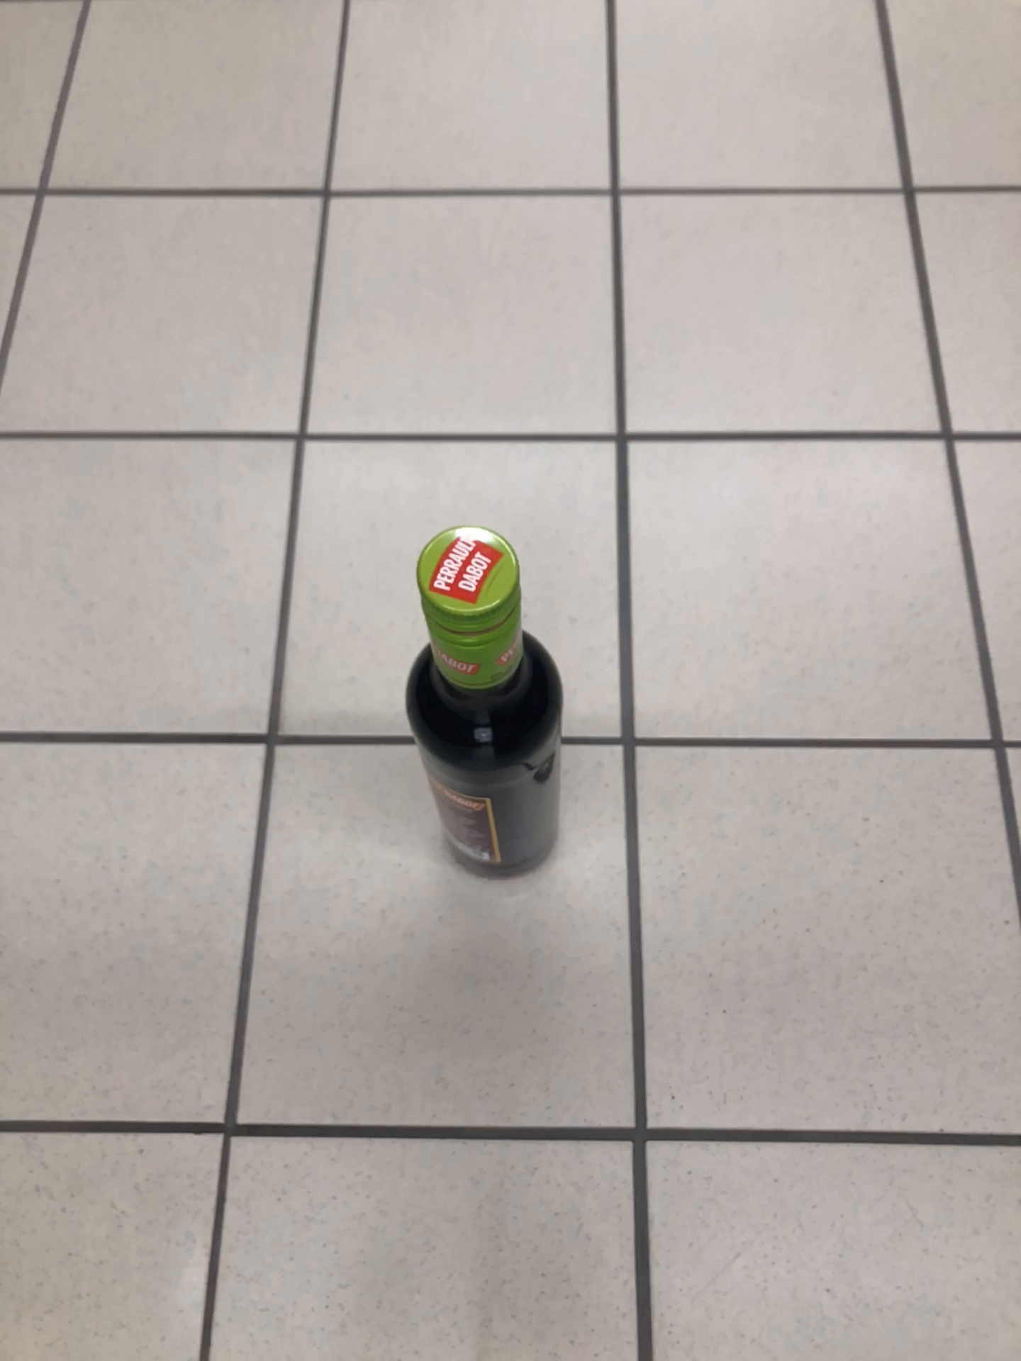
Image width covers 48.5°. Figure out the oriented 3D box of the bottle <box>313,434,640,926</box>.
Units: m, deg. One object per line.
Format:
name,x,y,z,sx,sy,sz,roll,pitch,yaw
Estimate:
bottle,-0.007,0.024,0.475,0.070,0.289,0.070,-1,66,1
